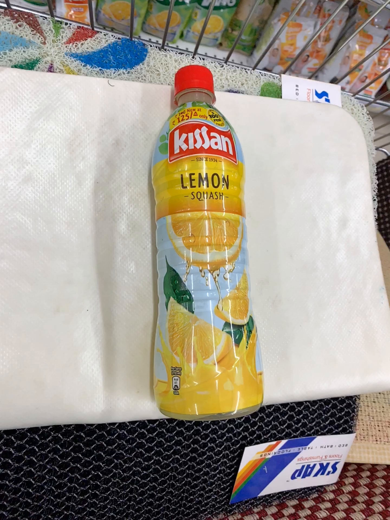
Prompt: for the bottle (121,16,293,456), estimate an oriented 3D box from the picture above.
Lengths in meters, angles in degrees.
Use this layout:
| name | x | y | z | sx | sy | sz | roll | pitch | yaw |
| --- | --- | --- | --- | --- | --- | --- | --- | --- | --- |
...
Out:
| name | x | y | z | sx | sy | sz | roll | pitch | yaw |
| --- | --- | --- | --- | --- | --- | --- | --- | --- | --- |
| bottle | 0.002 | -0.014 | 0.256 | 0.080 | 0.070 | 0.230 | 0 | 85 | -23 |
